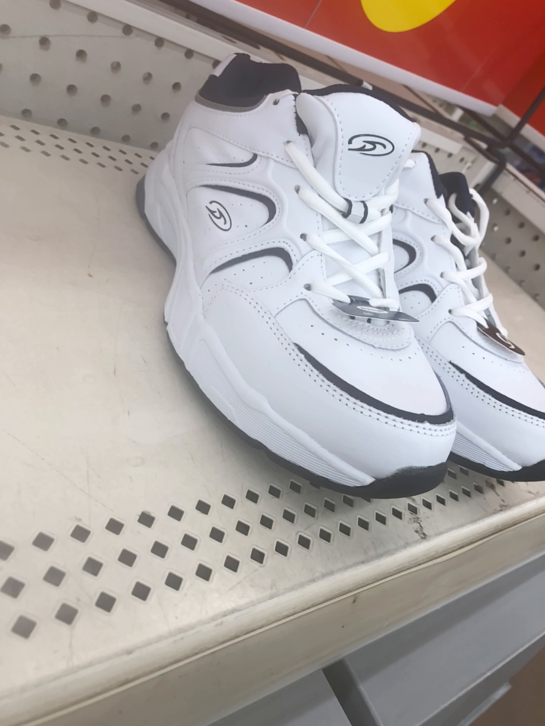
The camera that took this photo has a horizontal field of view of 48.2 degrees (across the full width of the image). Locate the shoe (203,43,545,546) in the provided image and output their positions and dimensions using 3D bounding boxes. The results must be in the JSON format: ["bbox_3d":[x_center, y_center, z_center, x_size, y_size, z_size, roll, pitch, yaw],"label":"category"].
[{"bbox_3d":[0.078,-0.050,0.352,0.110,0.119,0.260,3,44,-39],"label":"shoe"}]

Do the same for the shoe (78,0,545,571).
[{"bbox_3d":[0.003,-0.058,0.289,0.110,0.119,0.260,6,42,-36],"label":"shoe"}]
